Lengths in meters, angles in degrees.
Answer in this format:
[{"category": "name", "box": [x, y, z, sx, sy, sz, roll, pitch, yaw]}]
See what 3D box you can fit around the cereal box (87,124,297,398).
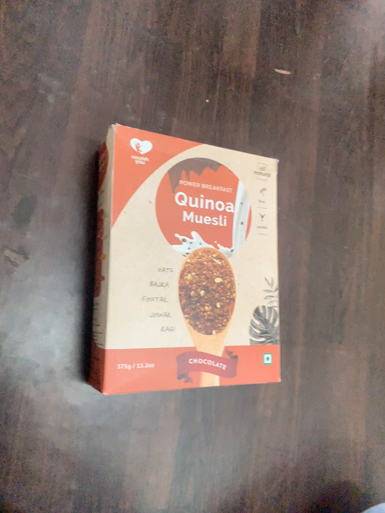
[{"category": "cereal box", "box": [0.001, 0.009, 0.367, 0.171, 0.070, 0.210, 5, 79, -25]}]
